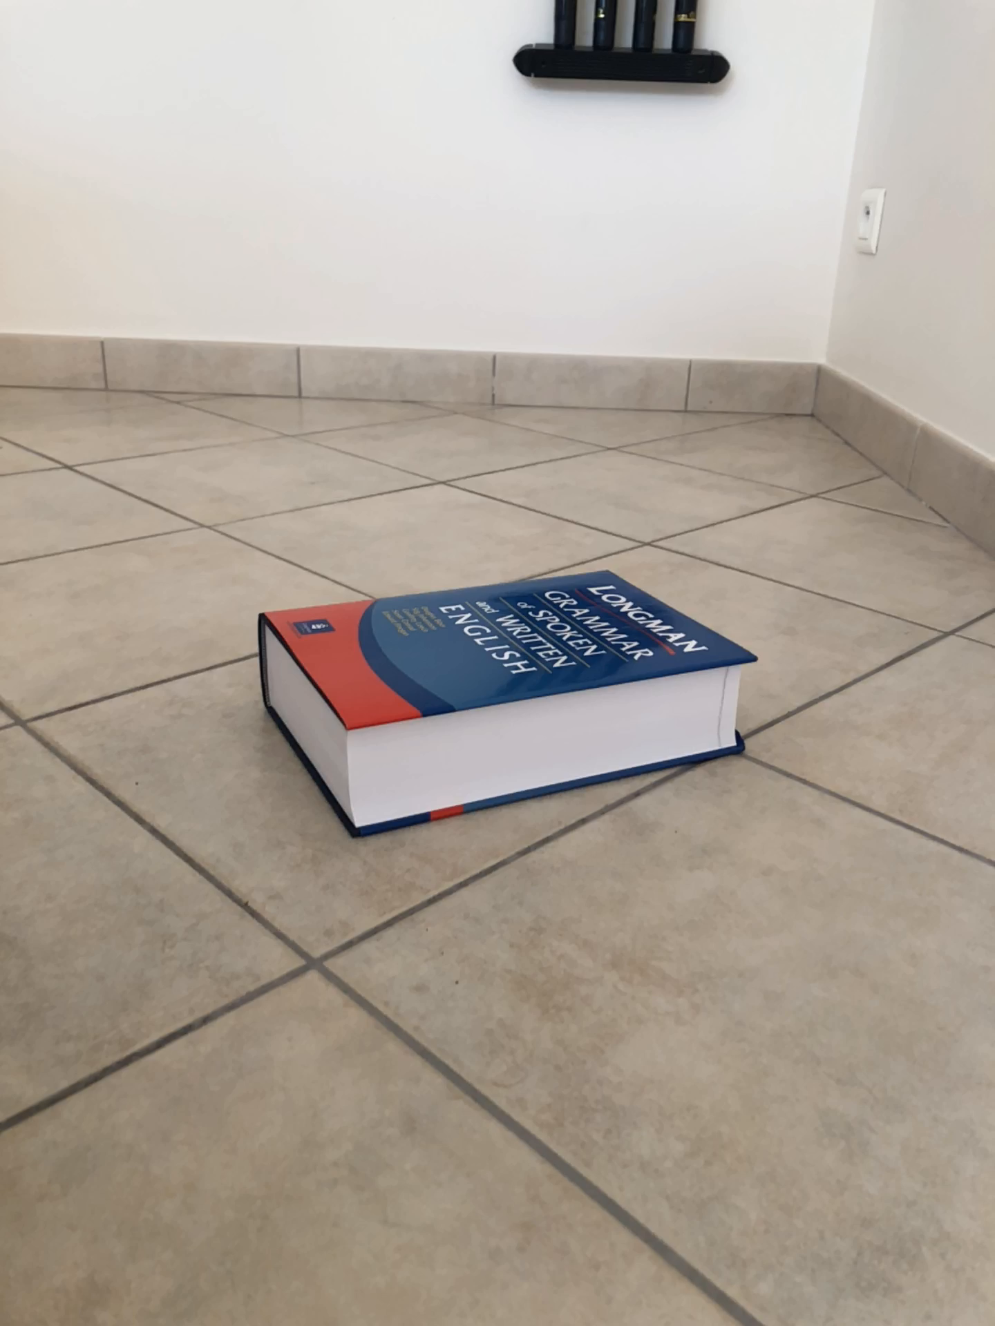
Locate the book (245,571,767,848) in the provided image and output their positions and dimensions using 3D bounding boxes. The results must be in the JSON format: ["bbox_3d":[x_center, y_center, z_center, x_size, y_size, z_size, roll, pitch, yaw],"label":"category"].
[{"bbox_3d":[-0.001,0.013,0.643,0.251,0.060,0.178,-9,25,-24],"label":"book"}]
